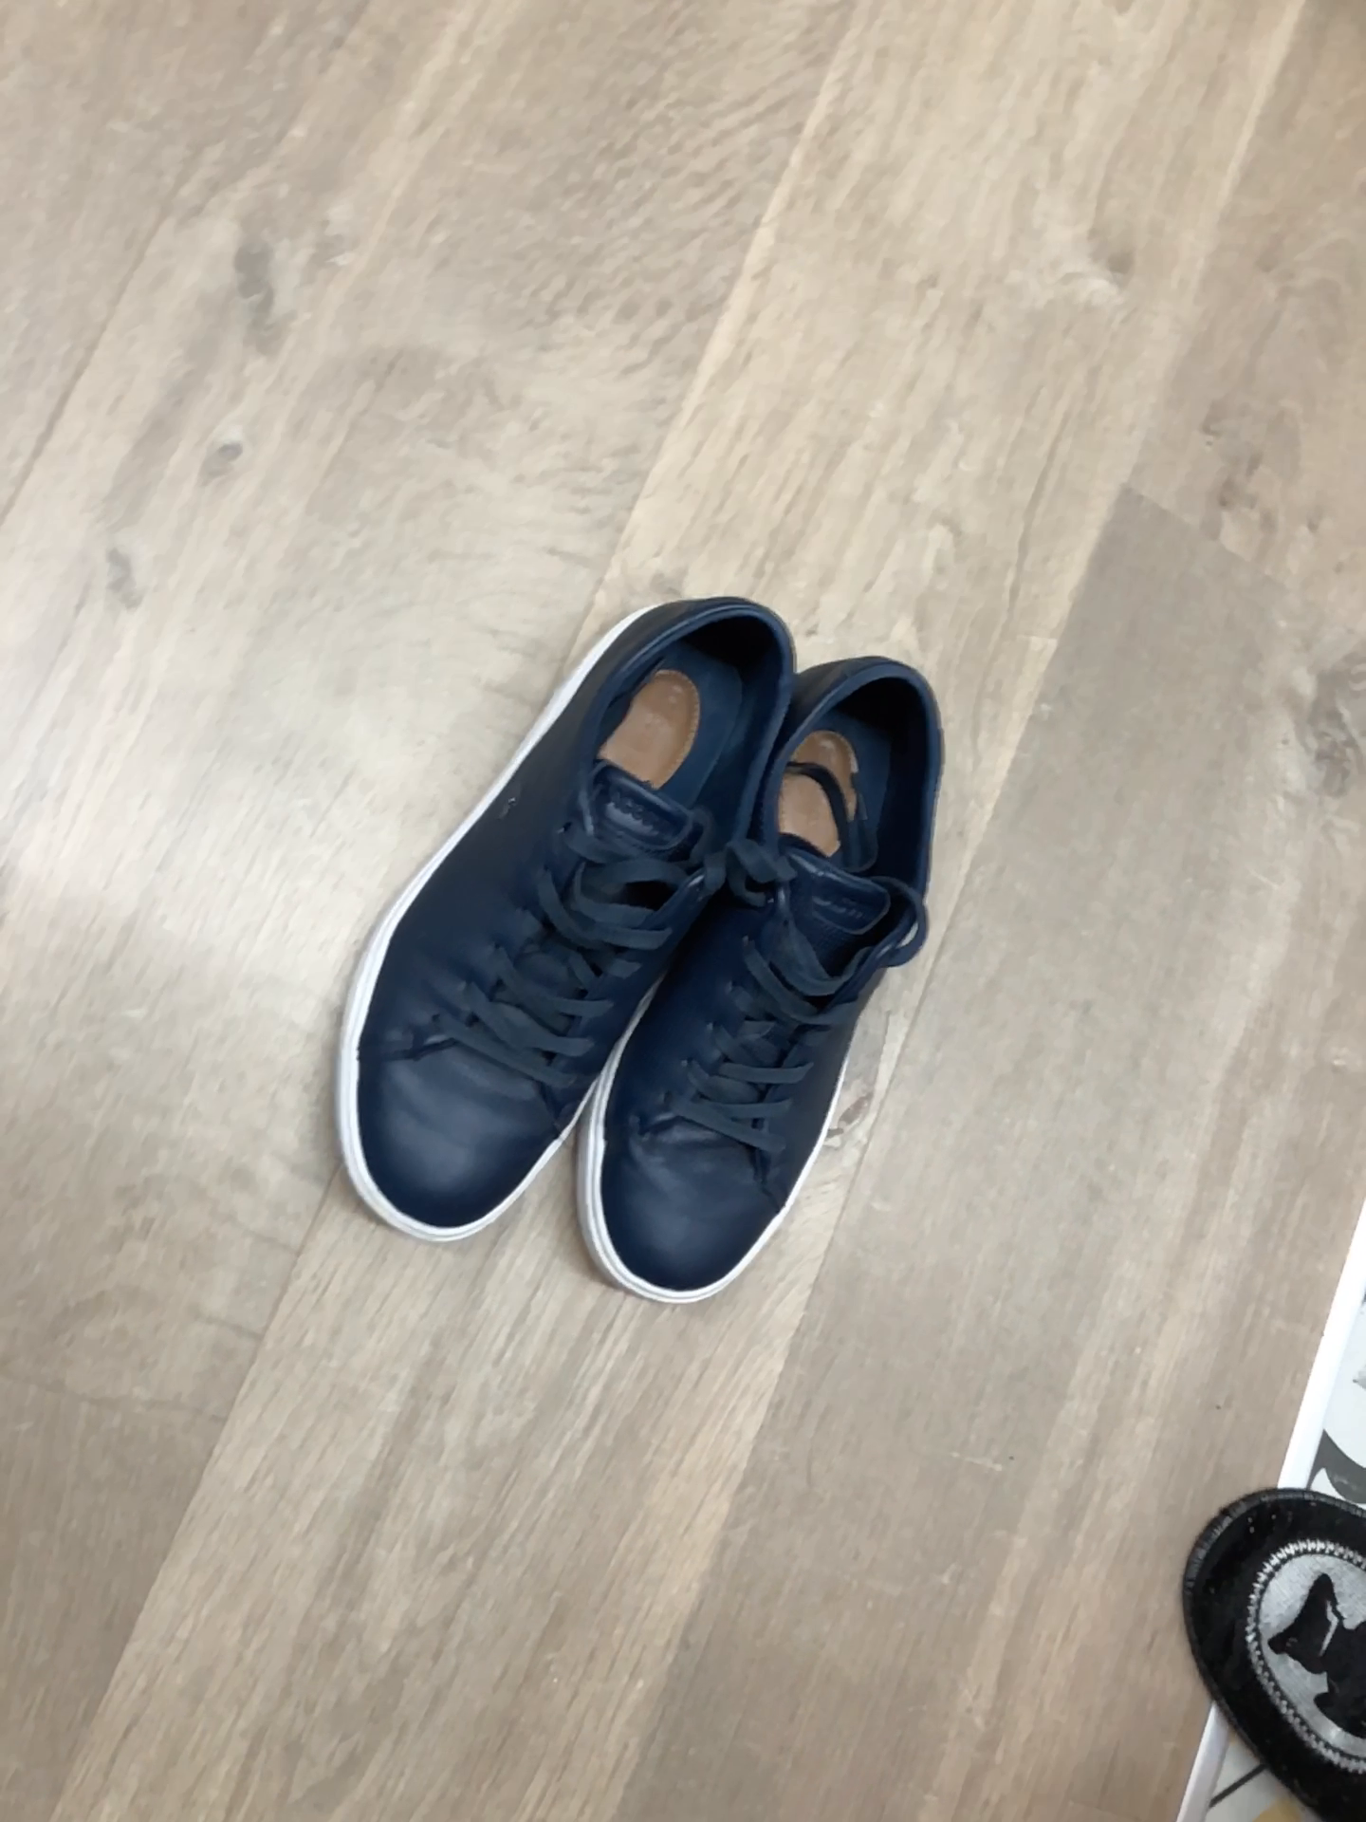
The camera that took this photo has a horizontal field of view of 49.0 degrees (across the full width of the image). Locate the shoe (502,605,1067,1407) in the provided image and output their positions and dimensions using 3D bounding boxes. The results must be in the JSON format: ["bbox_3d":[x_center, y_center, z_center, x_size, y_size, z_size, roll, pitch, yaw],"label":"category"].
[{"bbox_3d":[0.036,0.031,0.537,0.100,0.080,0.247,24,80,-18],"label":"shoe"}]

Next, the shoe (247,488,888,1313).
[{"bbox_3d":[-0.039,-0.005,0.517,0.100,0.080,0.247,31,78,-16],"label":"shoe"}]
